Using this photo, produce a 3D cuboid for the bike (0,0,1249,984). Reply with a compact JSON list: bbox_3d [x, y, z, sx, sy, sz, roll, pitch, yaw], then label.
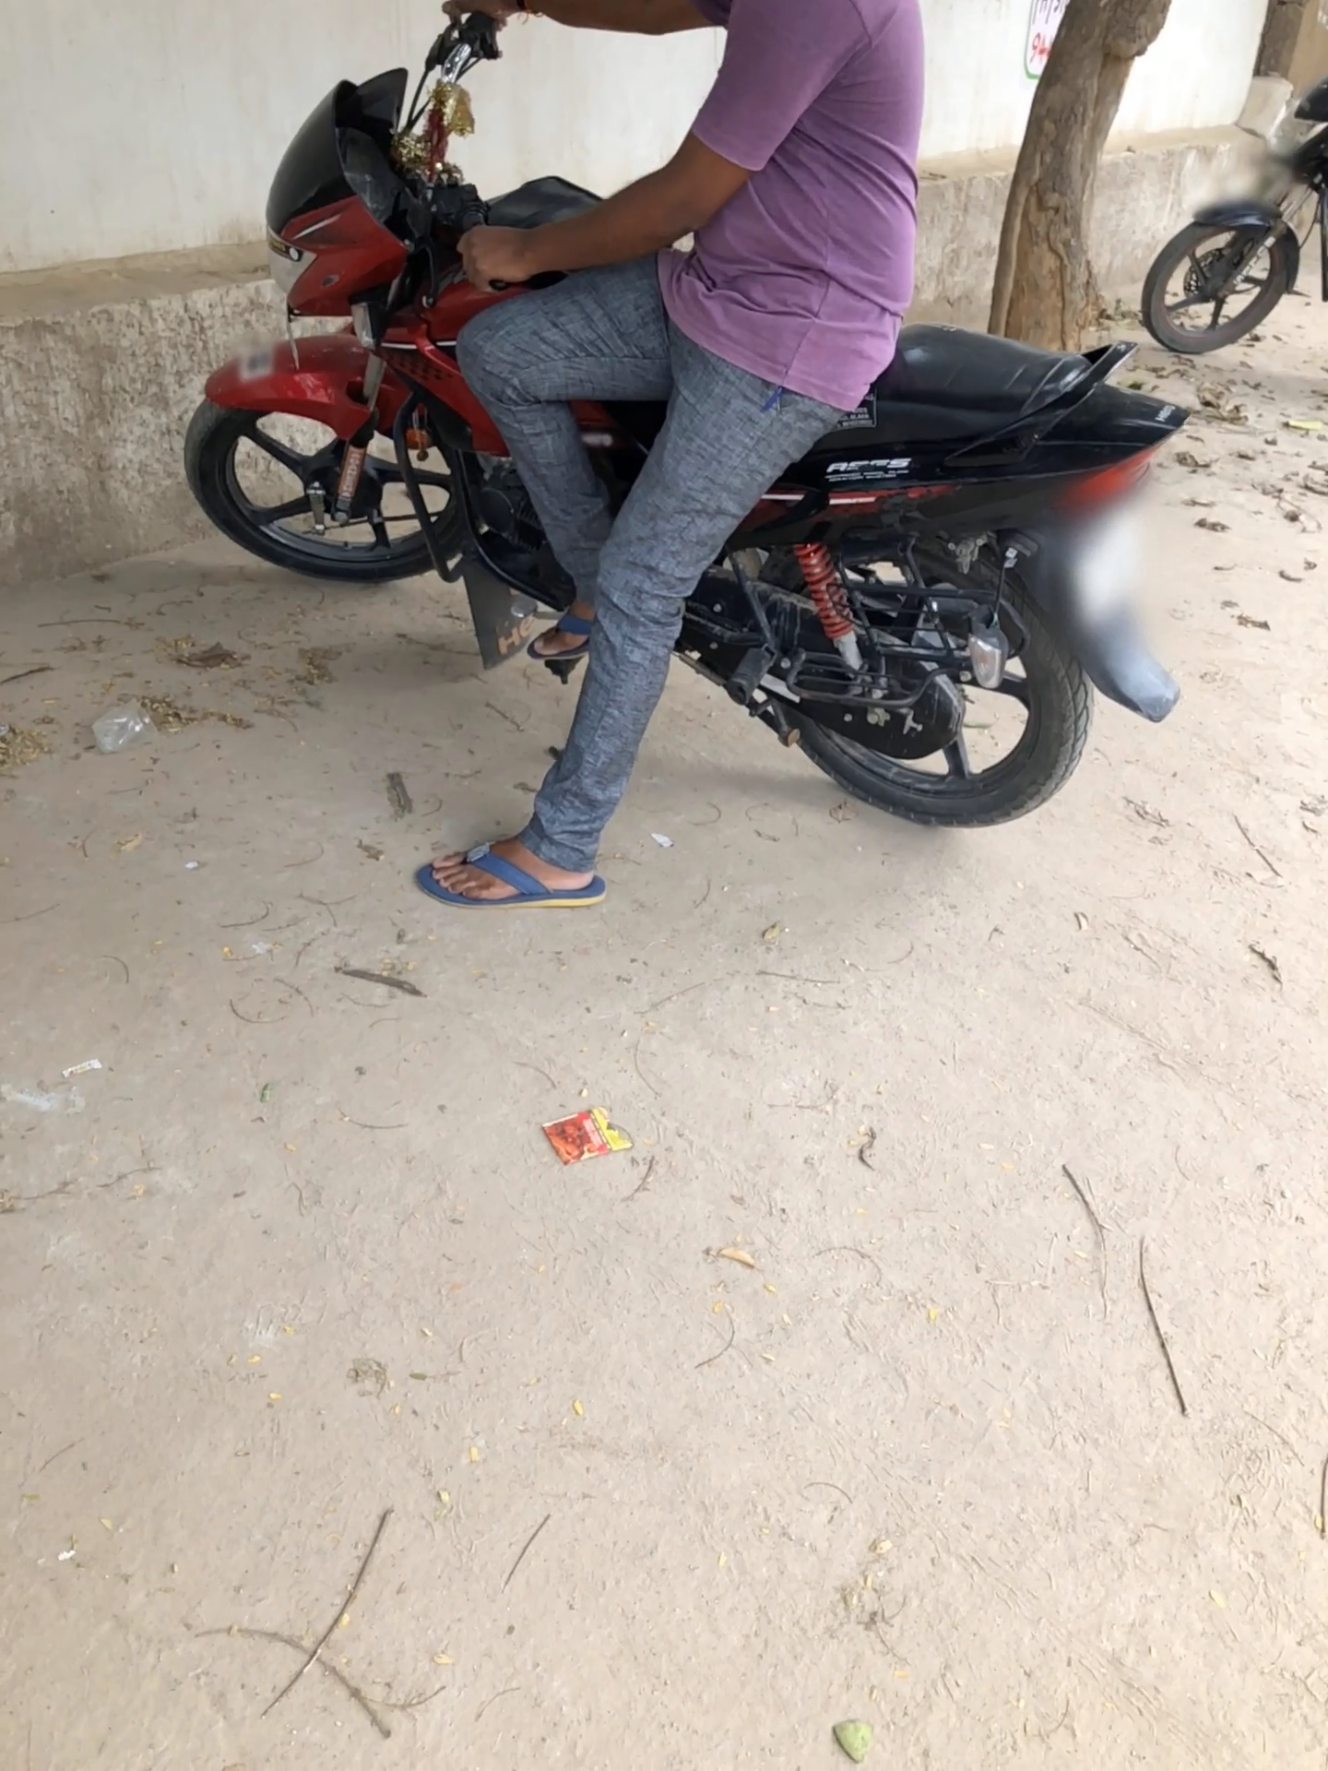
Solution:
[{"bbox_3d":[-0.180,-0.800,2.145,1.697,1.086,0.745,19,36,16],"label":"bike"}]
